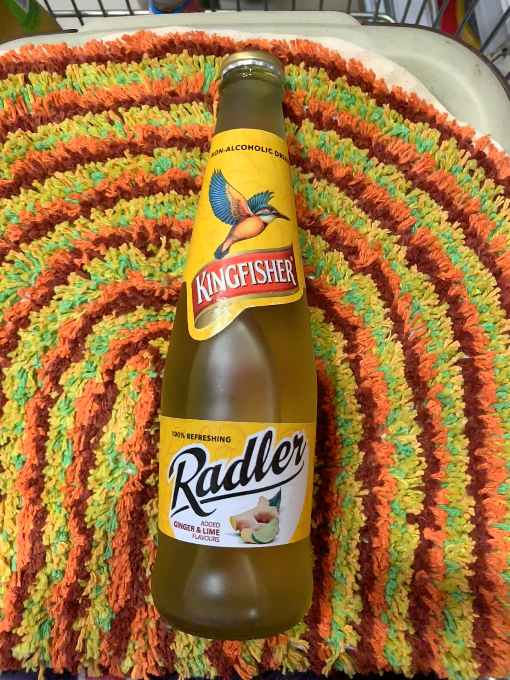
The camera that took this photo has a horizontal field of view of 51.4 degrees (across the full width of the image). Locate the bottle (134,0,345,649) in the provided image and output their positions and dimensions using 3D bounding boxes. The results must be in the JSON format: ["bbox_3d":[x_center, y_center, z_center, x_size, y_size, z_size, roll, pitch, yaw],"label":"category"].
[{"bbox_3d":[-0.001,-0.014,0.203,0.060,0.060,0.220,2,84,4],"label":"bottle"}]
